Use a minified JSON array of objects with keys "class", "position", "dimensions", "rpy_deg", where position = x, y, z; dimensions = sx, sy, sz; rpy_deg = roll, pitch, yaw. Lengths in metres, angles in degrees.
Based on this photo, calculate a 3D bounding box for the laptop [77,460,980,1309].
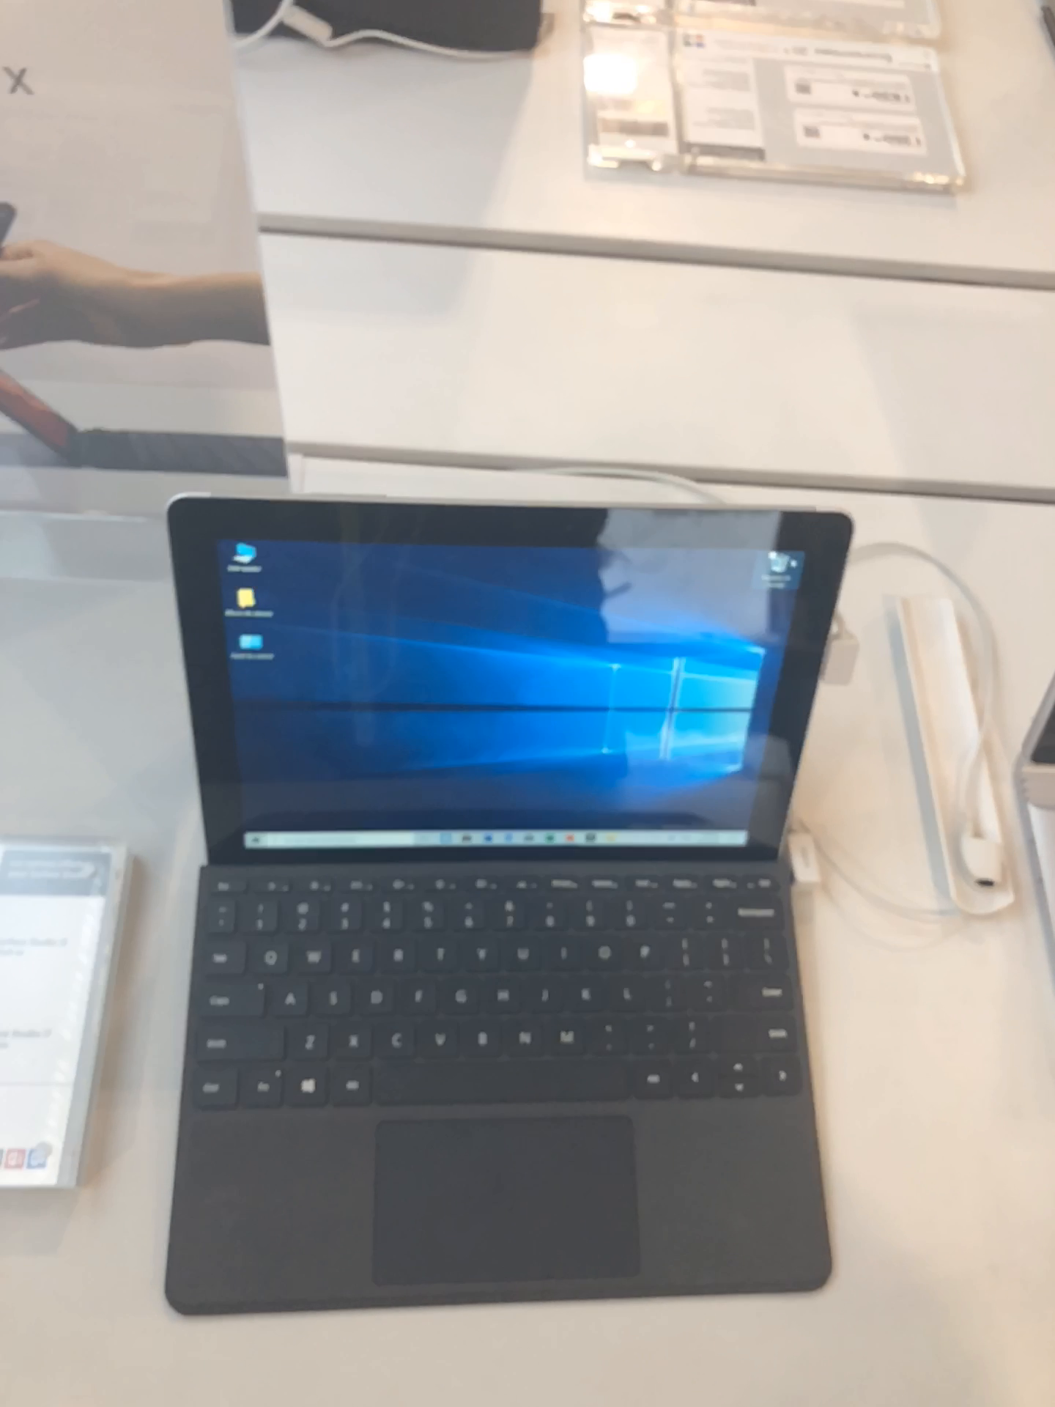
[{"class":"laptop","position":[-0.008,0.067,0.417],"dimensions":[0.236,0.140,0.250],"rpy_deg":[0,65,-7]}]
